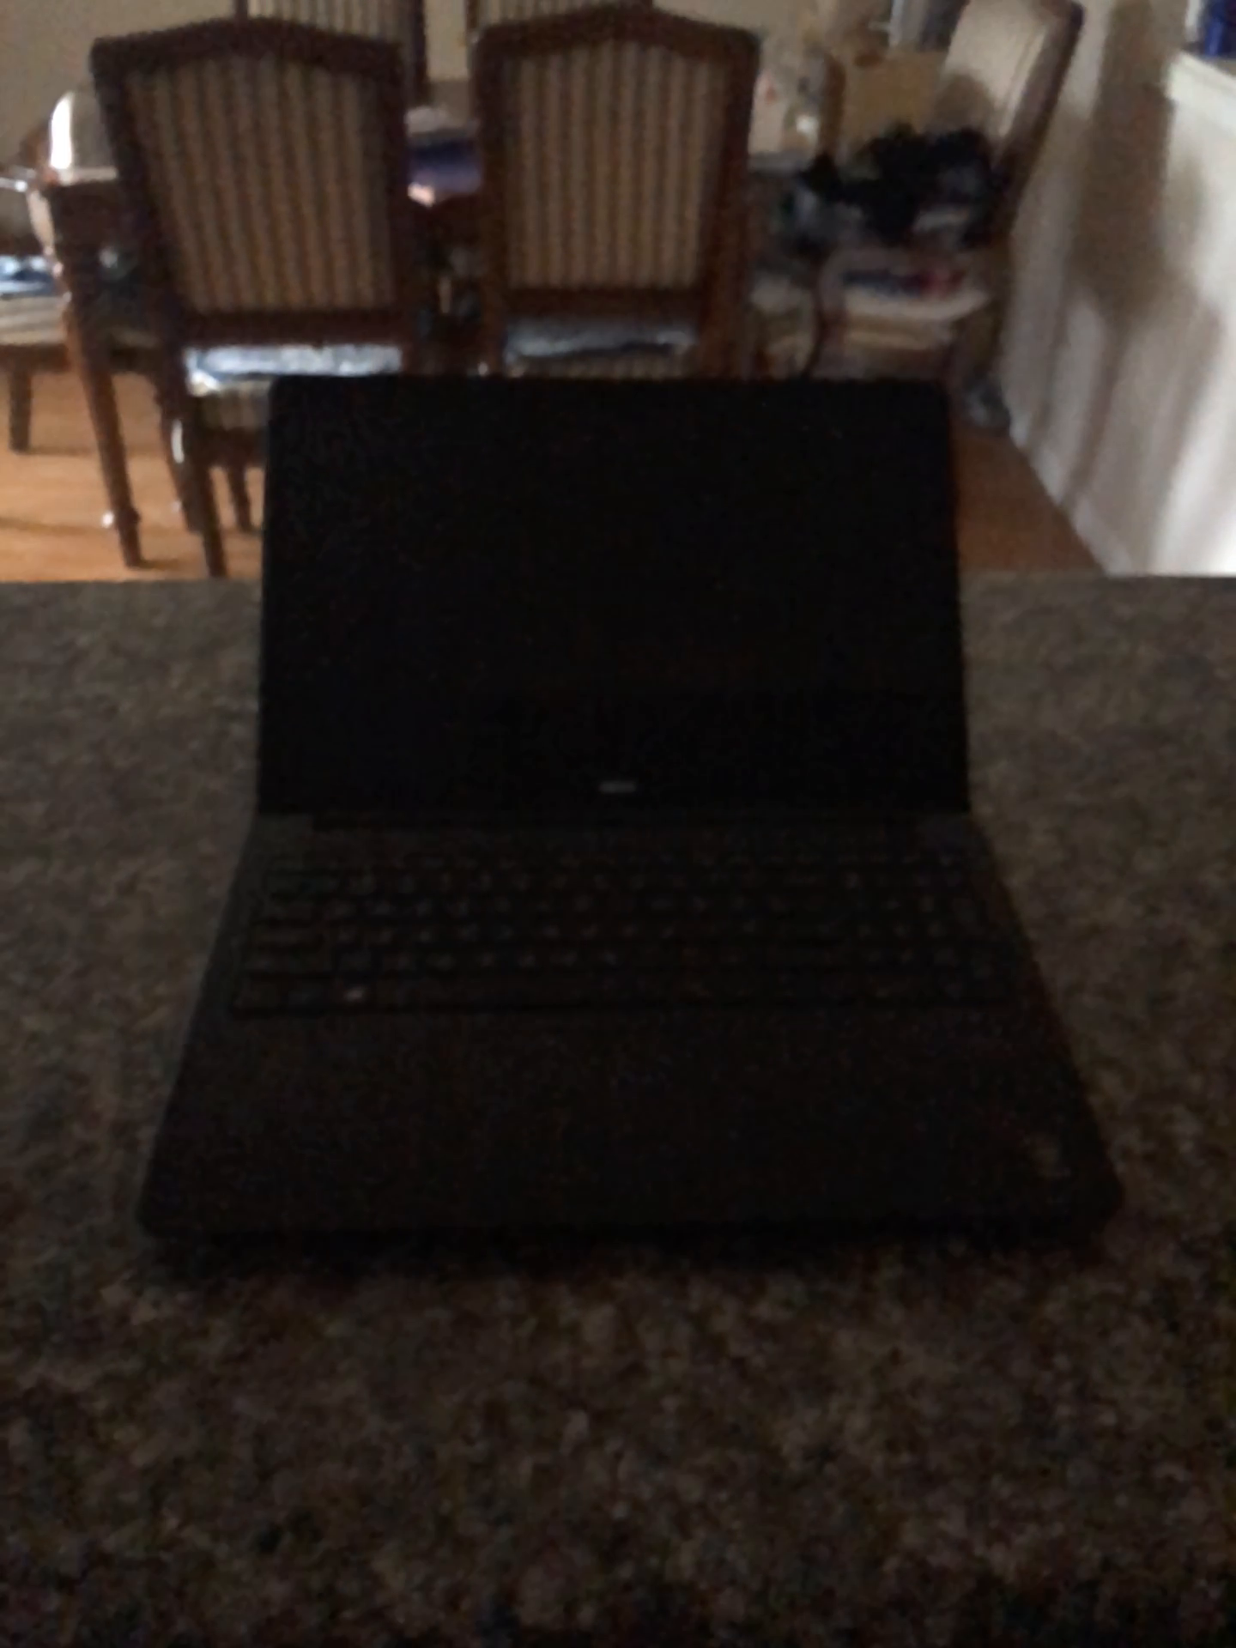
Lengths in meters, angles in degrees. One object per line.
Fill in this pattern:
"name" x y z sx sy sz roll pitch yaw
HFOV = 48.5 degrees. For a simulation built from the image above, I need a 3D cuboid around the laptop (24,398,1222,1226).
"laptop" -0.003 -0.042 0.627 0.361 0.158 0.416 0 37 -2
